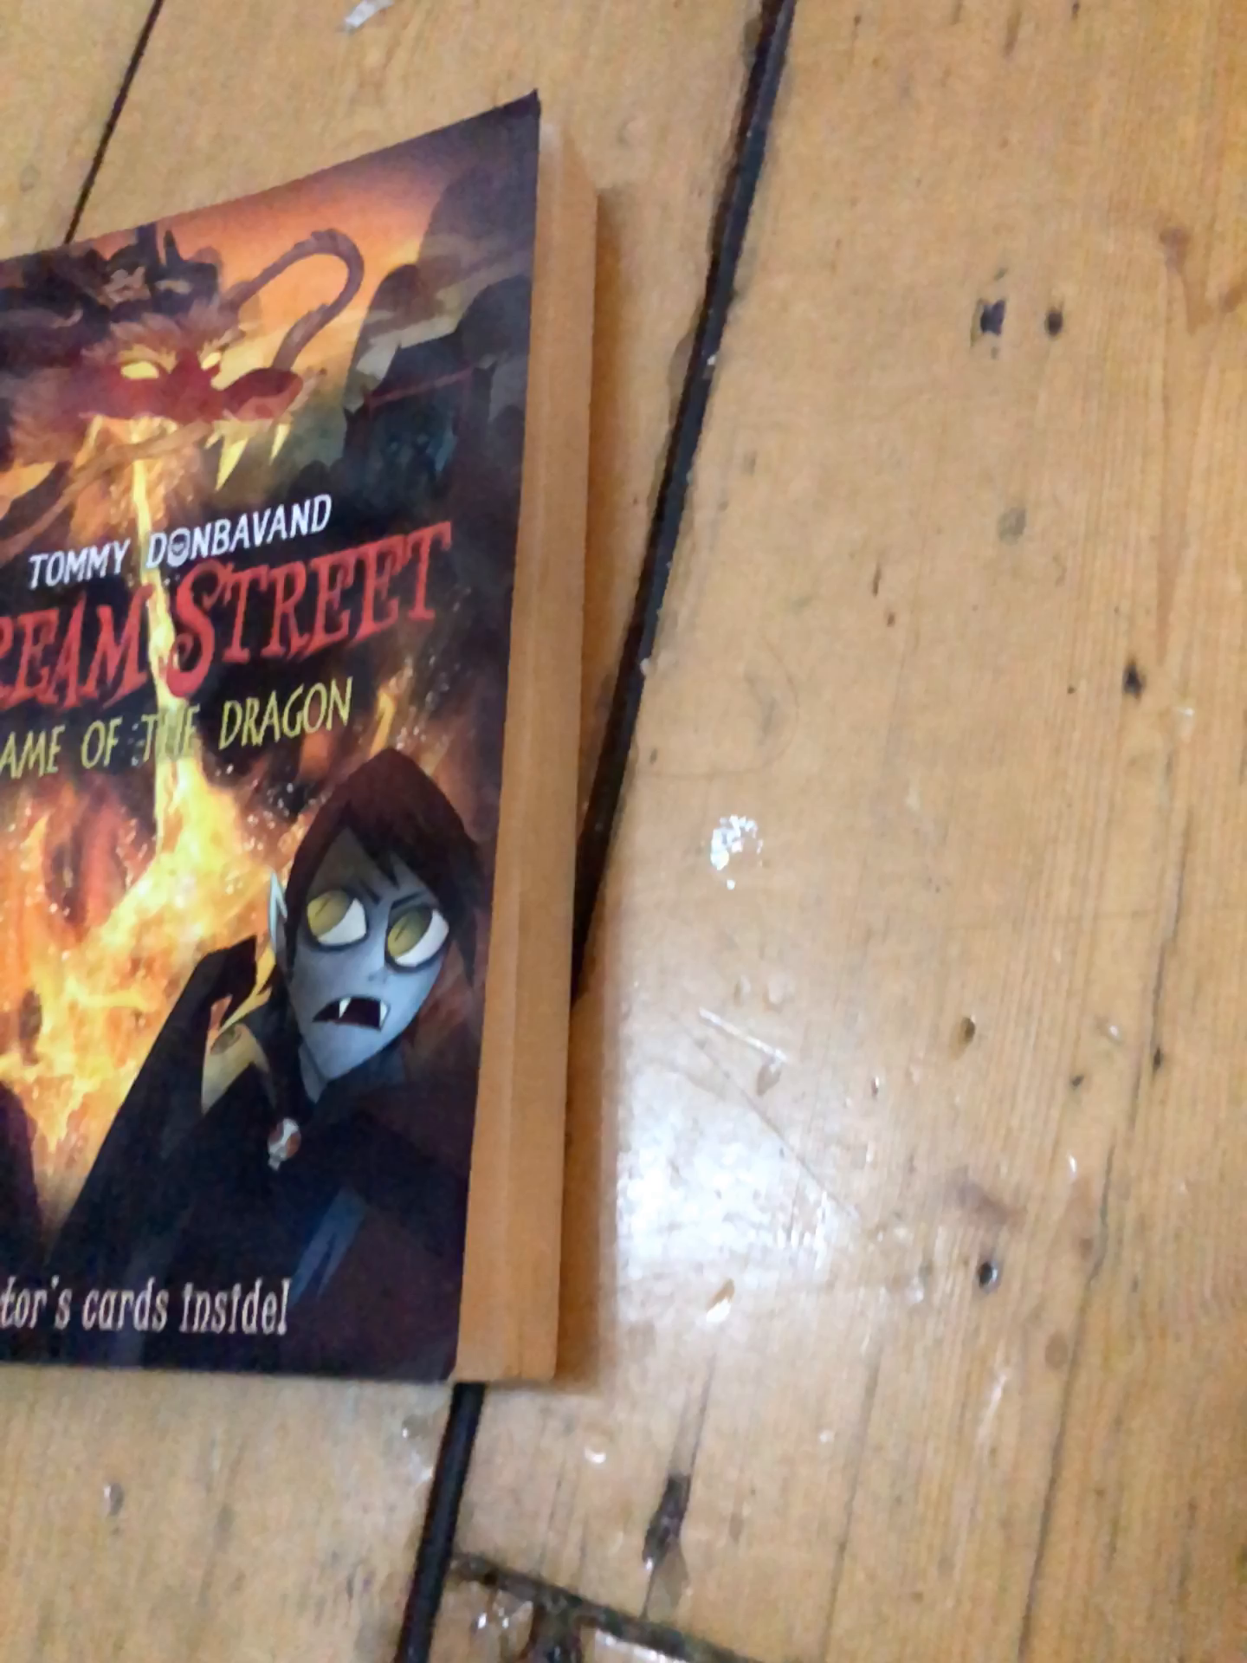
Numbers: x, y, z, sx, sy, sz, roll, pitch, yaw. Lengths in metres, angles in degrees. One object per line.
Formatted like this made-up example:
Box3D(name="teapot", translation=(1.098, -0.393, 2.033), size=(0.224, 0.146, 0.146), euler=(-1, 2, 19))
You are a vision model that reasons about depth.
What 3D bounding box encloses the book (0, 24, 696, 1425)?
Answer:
Box3D(name="book", translation=(-0.057, -0.018, 0.221), size=(0.130, 0.040, 0.200), euler=(-6, 70, 18))
